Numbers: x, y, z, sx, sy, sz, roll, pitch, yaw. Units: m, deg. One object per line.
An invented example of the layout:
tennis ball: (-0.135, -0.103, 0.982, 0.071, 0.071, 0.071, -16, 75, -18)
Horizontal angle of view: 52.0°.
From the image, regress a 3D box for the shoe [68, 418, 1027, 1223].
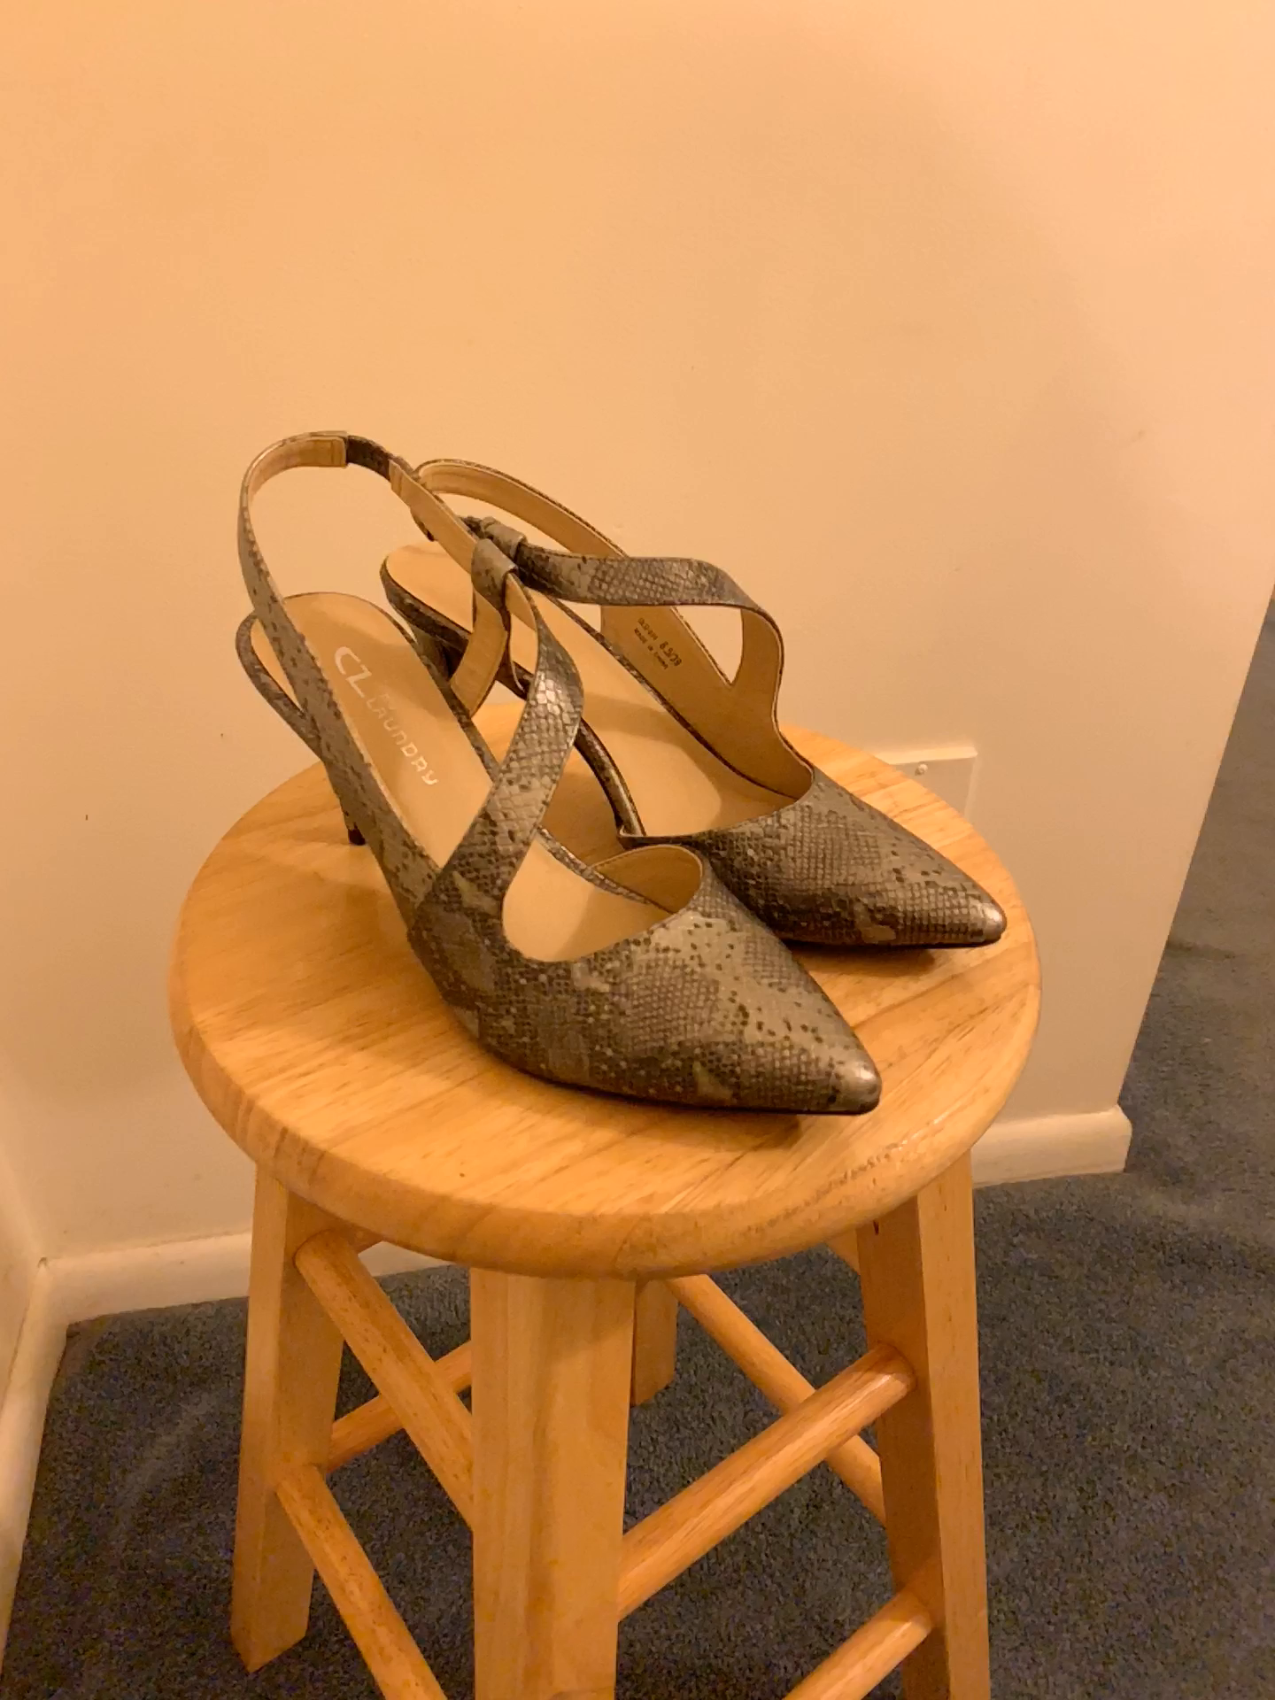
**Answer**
shoe: (-0.041, -0.030, 0.395, 0.270, 0.125, 0.100, 26, 41, 32)

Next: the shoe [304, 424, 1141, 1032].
shoe: (0.018, -0.057, 0.445, 0.251, 0.106, 0.103, 23, 39, 29)
